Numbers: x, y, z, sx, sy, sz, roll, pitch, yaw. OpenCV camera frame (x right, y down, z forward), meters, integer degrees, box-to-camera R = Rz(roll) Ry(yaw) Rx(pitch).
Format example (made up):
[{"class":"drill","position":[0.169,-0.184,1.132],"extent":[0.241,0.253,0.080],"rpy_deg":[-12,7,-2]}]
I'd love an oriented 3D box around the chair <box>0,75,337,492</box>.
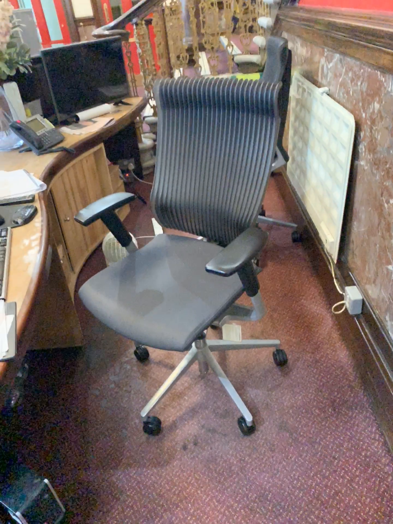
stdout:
[{"class":"chair","position":[-0.034,0.014,1.441],"extent":[0.724,1.129,0.693],"rpy_deg":[20,41,36]}]
